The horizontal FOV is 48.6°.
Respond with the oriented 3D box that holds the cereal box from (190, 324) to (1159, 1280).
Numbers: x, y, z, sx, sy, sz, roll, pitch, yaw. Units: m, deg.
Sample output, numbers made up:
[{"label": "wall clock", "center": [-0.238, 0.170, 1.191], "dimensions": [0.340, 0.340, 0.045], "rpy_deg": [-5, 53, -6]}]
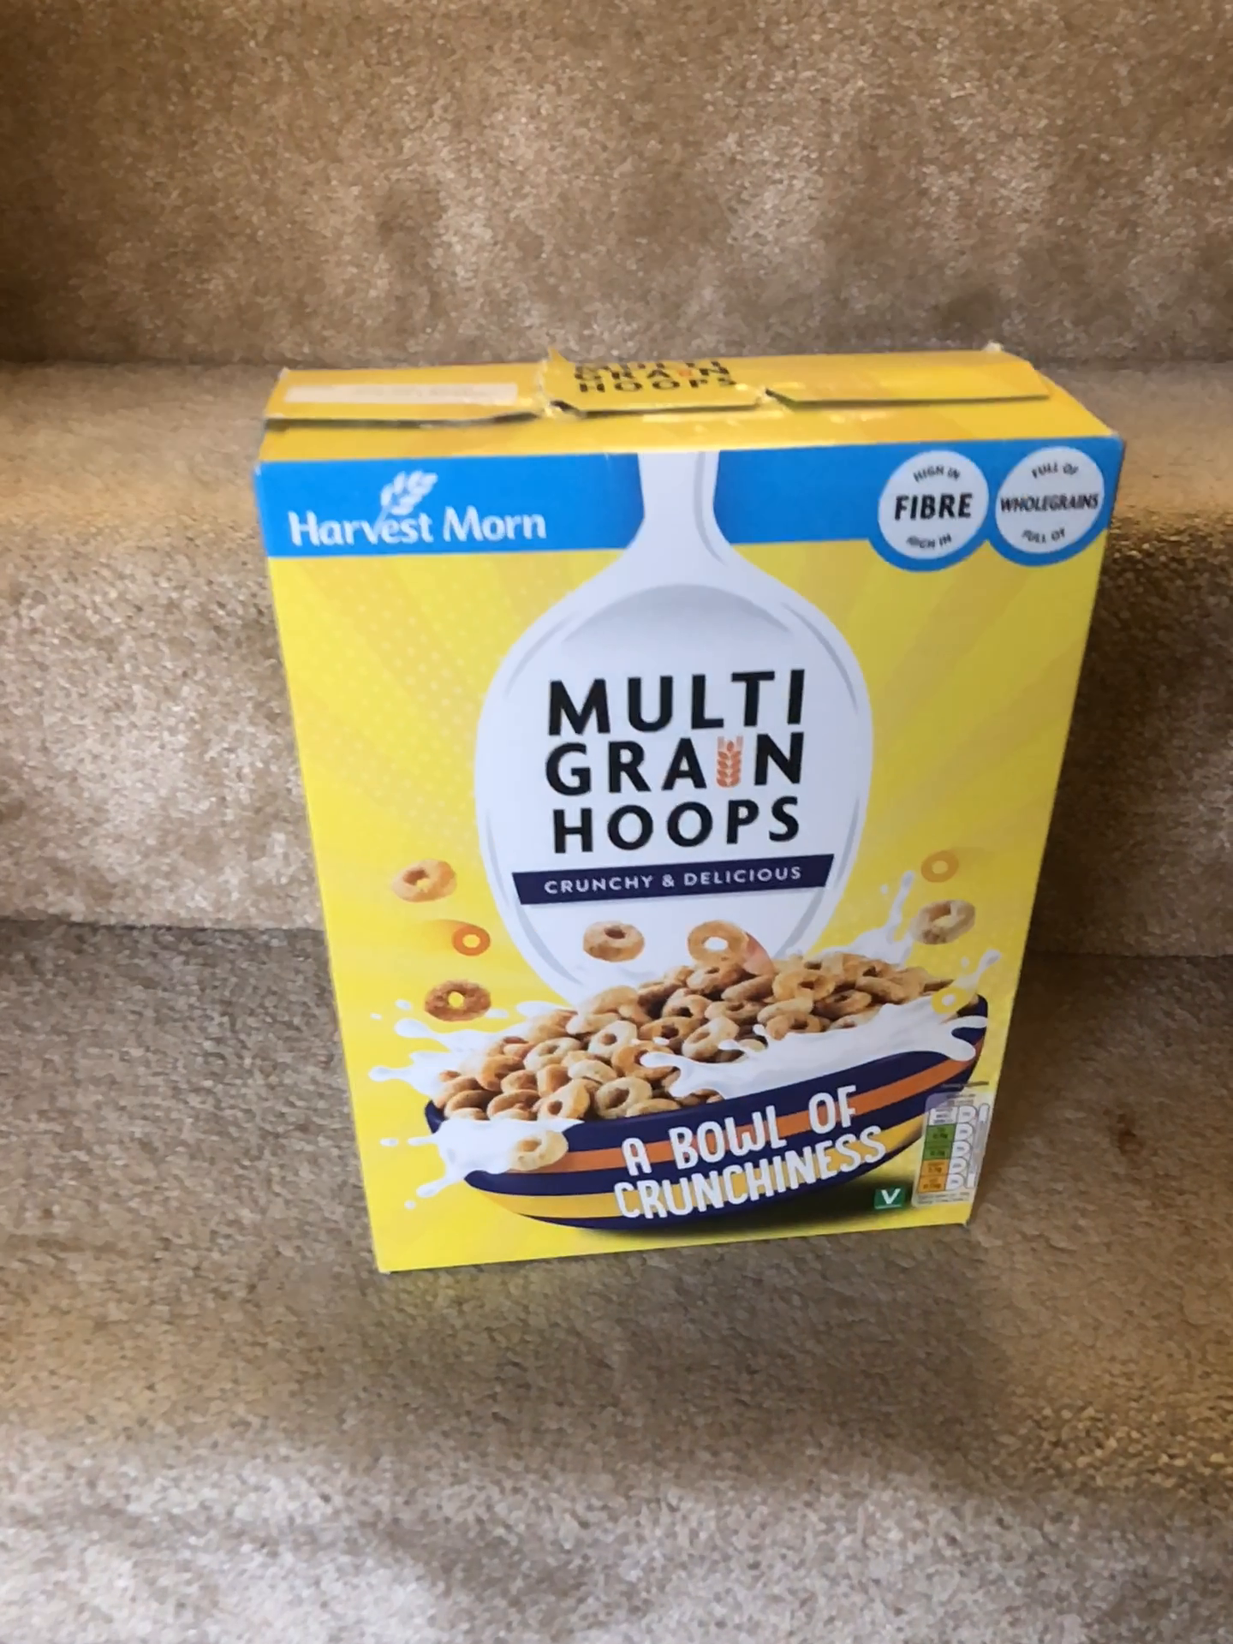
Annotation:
[{"label": "cereal box", "center": [0.012, 0.002, 0.385], "dimensions": [0.200, 0.248, 0.091], "rpy_deg": [-3, 33, -4]}]
